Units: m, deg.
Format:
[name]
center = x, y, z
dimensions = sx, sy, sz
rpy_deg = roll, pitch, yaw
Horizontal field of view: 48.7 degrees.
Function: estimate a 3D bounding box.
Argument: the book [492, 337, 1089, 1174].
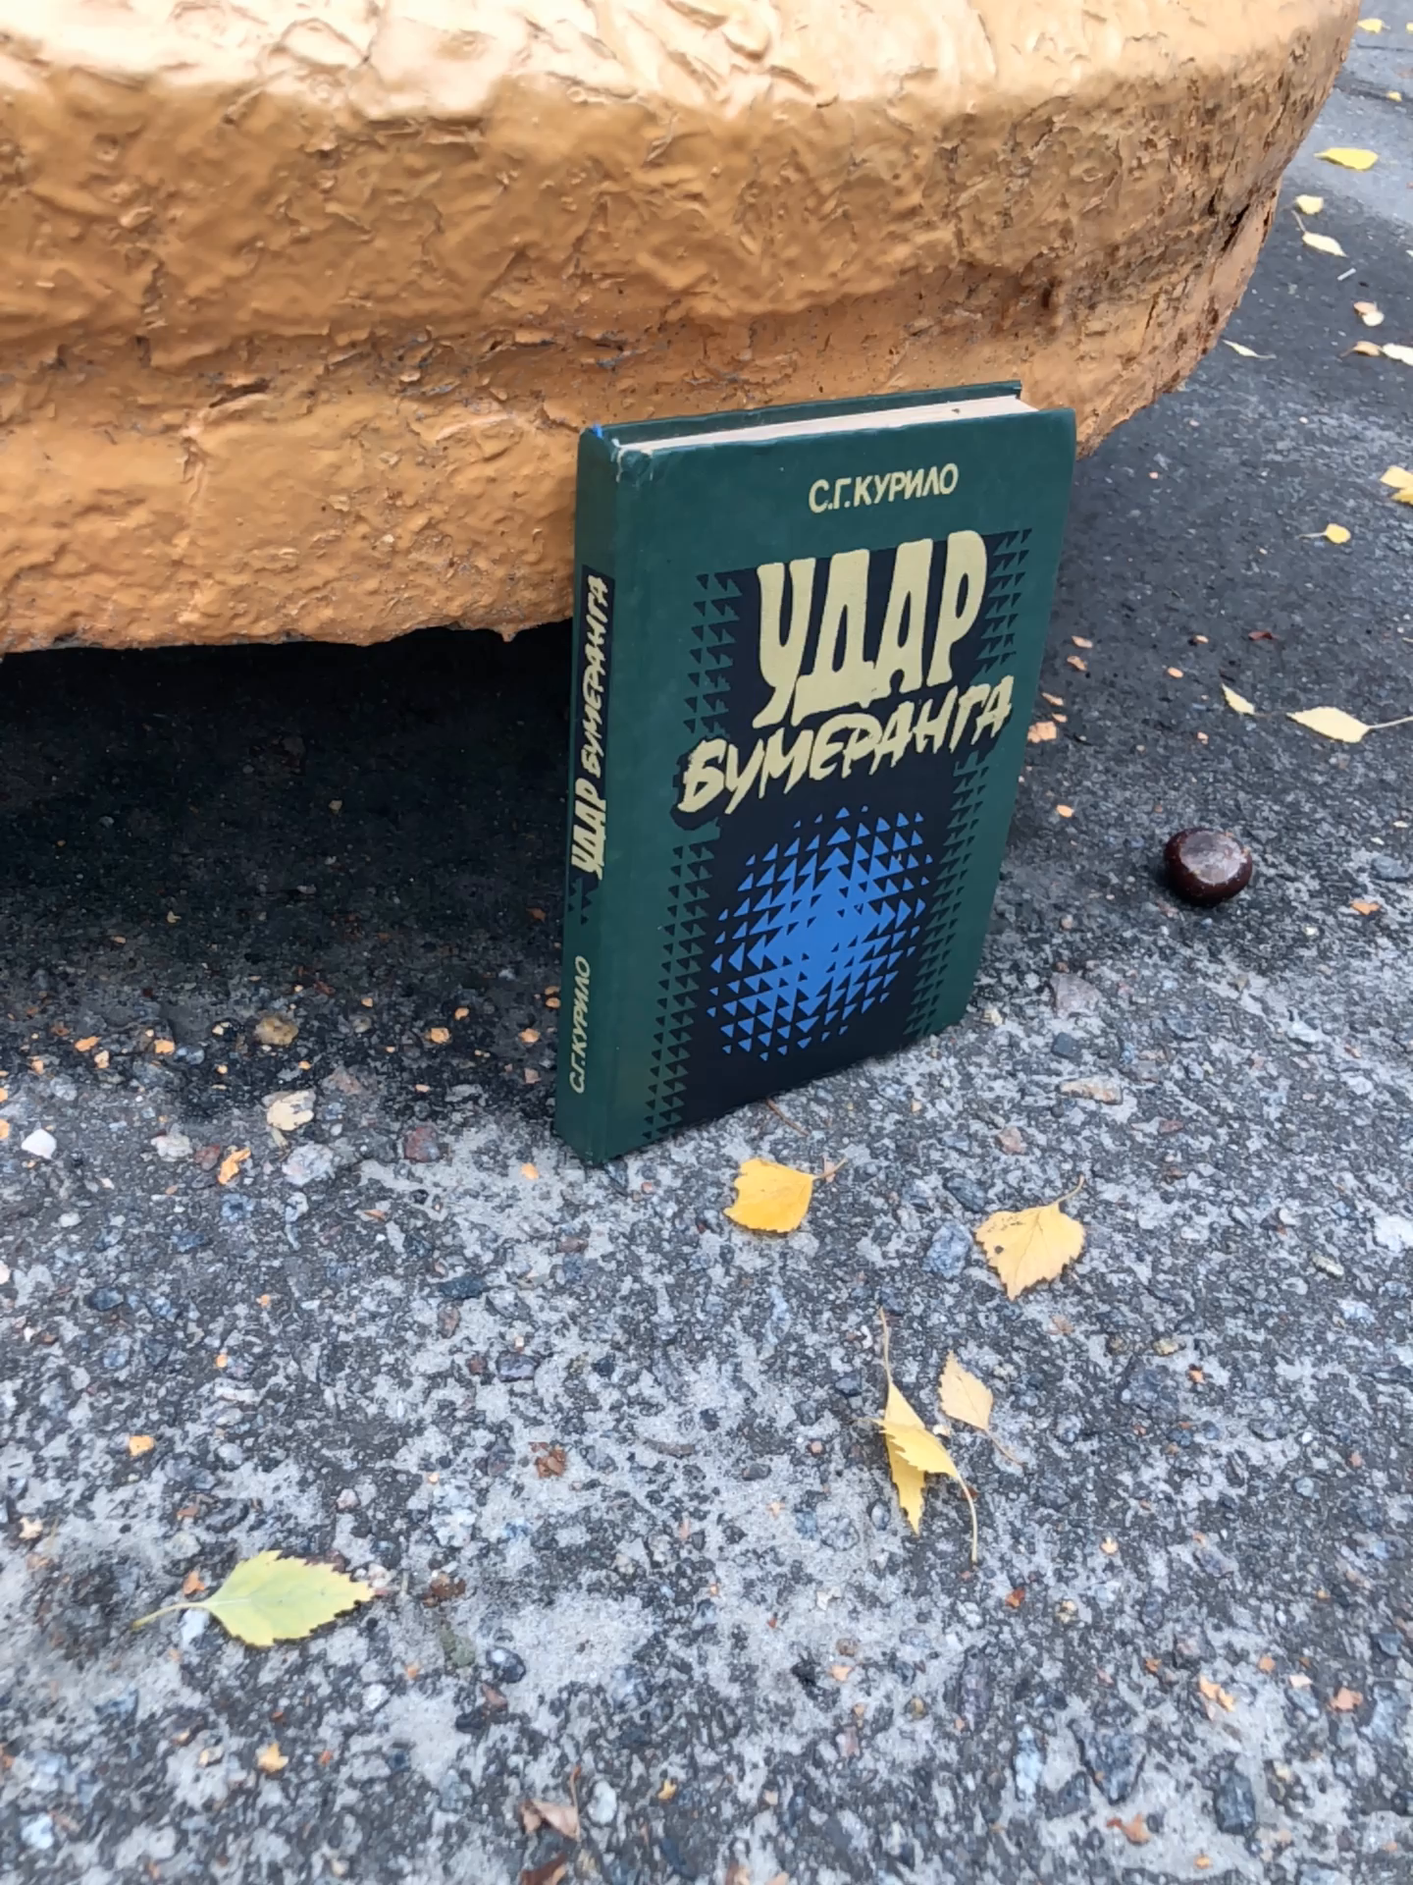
[book]
center = 0.016, -0.041, 0.372
dimensions = 0.131, 0.178, 0.029
rpy_deg = -19, 42, -29
